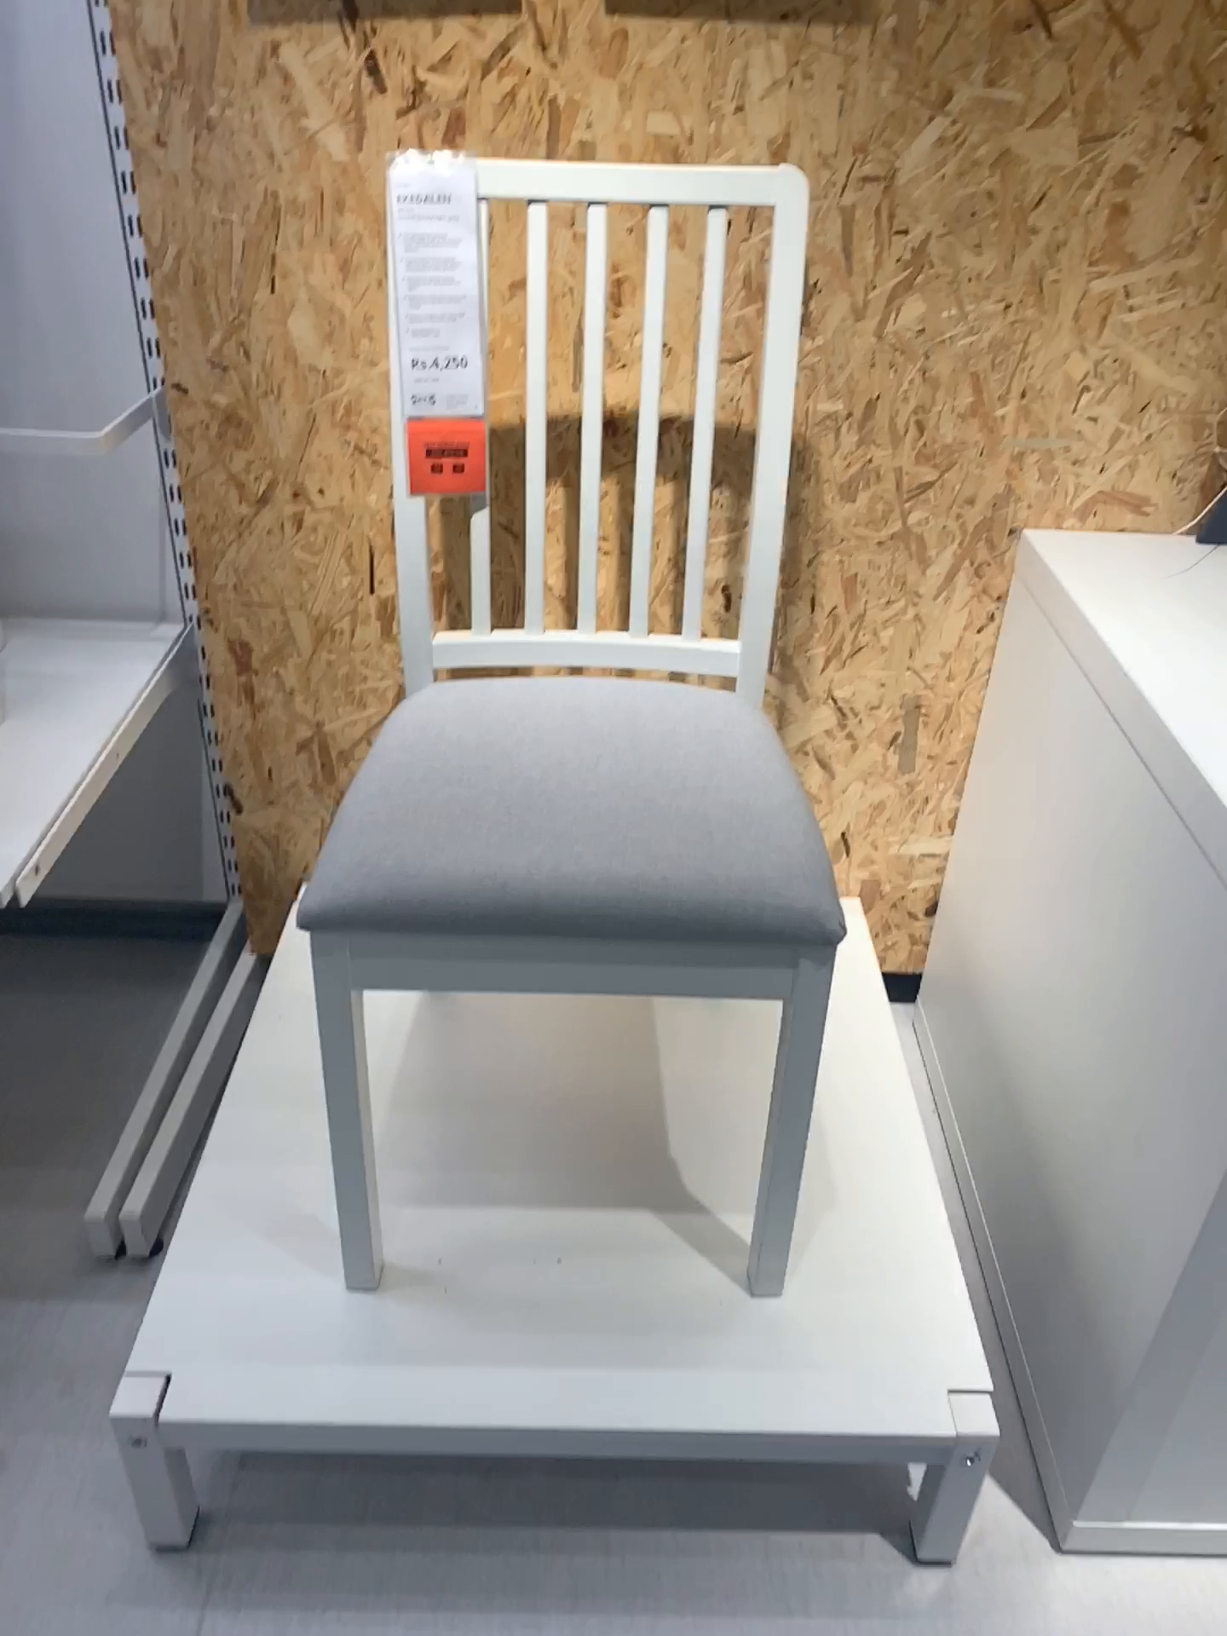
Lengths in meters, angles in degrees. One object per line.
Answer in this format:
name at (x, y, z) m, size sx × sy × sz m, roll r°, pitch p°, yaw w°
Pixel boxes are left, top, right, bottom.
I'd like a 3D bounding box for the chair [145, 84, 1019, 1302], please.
chair at (-0.031, -0.092, 1.070) m, size 0.430 × 0.886 × 0.512 m, roll 2°, pitch 33°, yaw -1°
